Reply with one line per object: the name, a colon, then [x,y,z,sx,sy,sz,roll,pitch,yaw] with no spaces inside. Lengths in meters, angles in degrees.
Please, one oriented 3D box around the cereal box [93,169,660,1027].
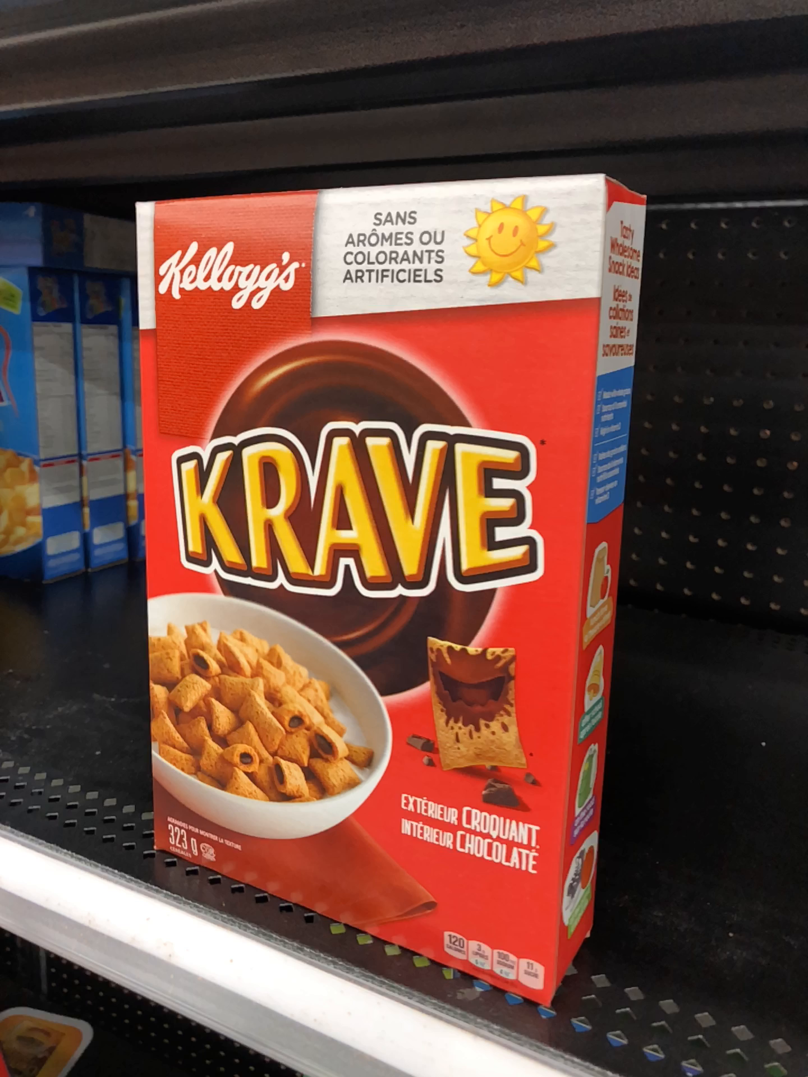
cereal box: [-0.024,0.013,0.352,0.210,0.279,0.050,9,13,28]
